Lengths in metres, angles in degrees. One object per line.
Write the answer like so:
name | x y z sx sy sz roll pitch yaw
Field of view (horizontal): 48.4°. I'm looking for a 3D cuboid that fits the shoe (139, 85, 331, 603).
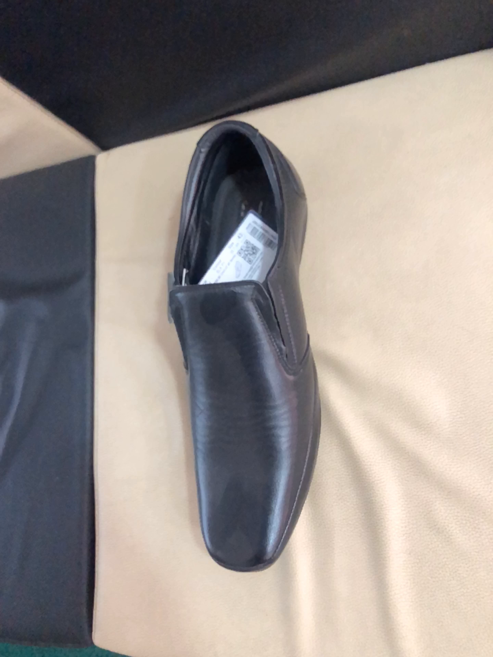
shoe | -0.003 0.007 0.396 0.100 0.090 0.320 -4 79 23
